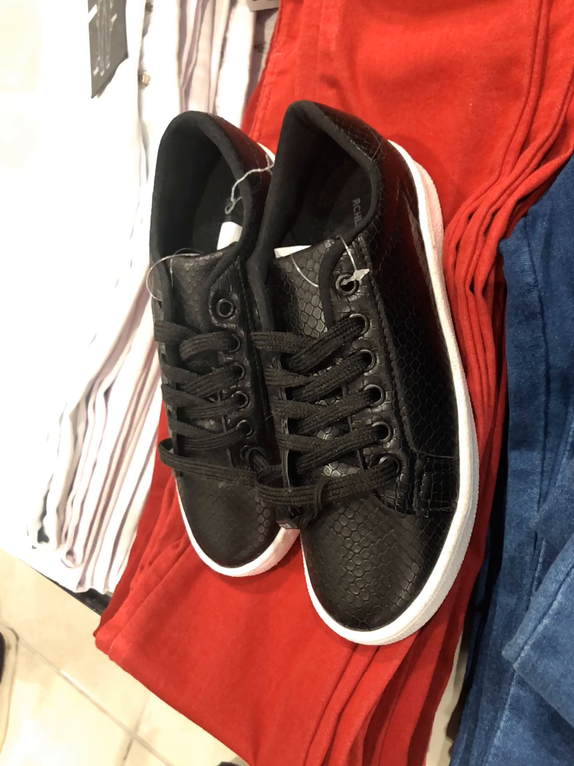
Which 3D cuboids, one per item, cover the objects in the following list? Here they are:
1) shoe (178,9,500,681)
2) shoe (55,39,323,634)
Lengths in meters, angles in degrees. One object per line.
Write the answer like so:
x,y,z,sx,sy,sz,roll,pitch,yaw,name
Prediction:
0.030,-0.014,0.286,0.090,0.100,0.250,-8,70,30,shoe
-0.044,-0.020,0.332,0.090,0.100,0.250,-1,86,27,shoe
